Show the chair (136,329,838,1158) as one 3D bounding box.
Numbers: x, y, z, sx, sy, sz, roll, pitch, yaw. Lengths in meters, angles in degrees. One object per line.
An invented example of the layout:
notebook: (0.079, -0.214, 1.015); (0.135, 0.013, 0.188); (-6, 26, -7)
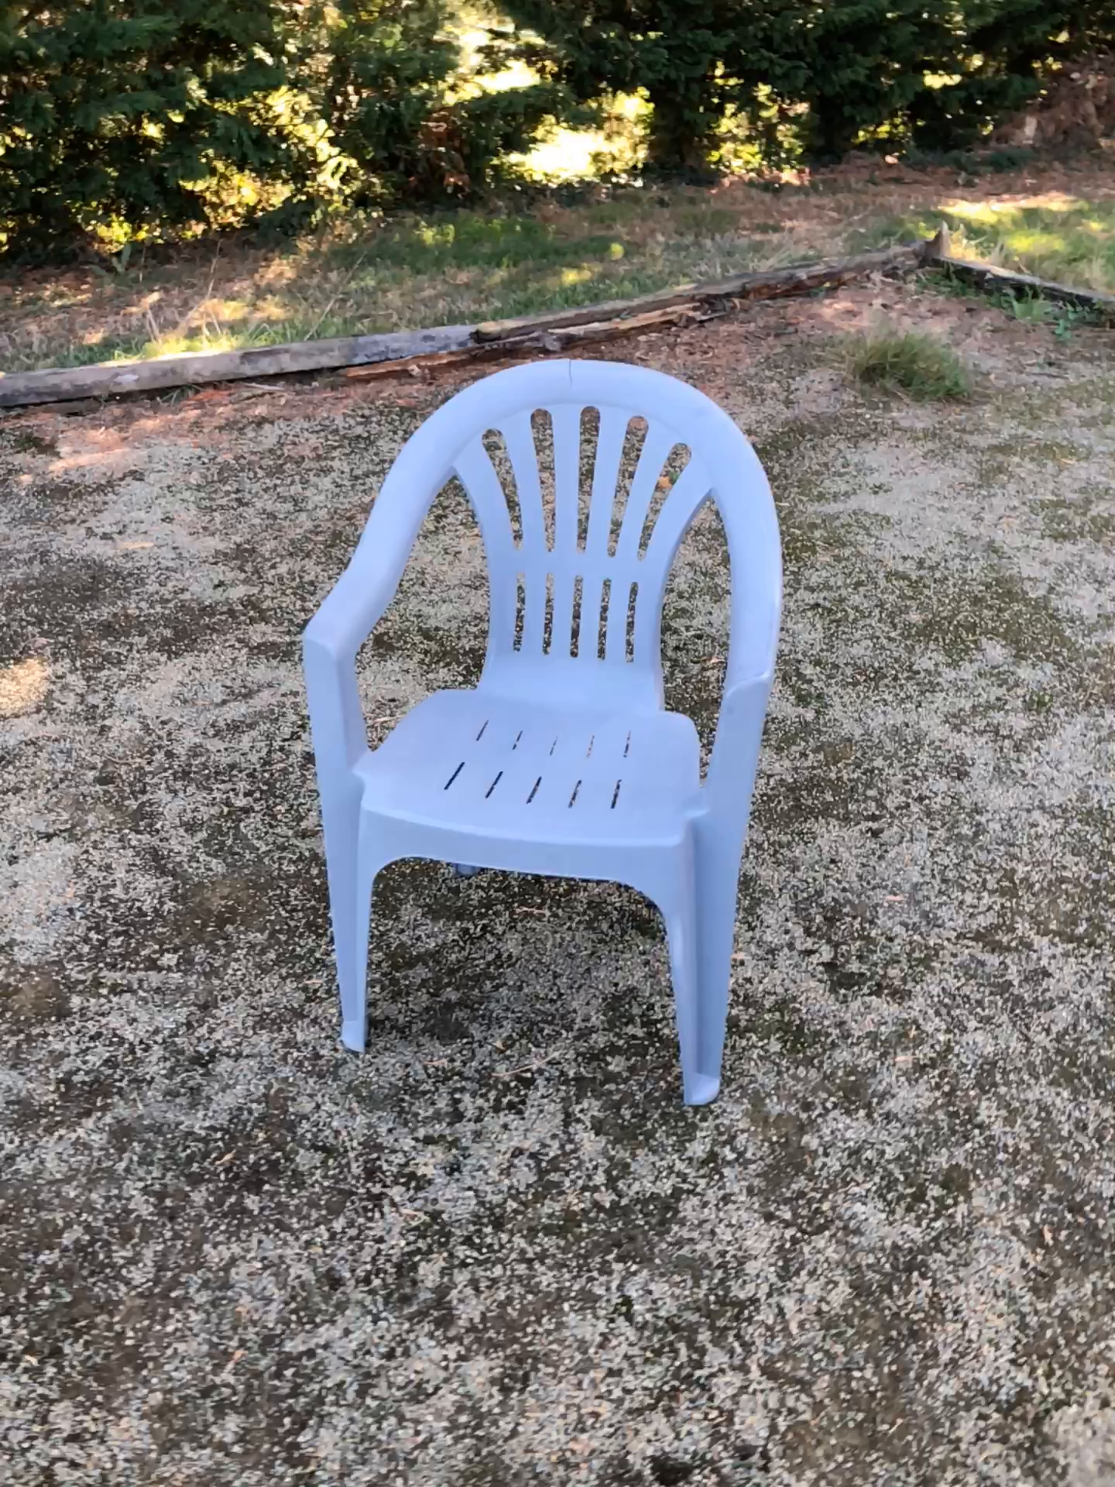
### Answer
chair: (-0.023, -0.032, 1.564); (0.630, 0.775, 0.624); (8, 35, 11)
